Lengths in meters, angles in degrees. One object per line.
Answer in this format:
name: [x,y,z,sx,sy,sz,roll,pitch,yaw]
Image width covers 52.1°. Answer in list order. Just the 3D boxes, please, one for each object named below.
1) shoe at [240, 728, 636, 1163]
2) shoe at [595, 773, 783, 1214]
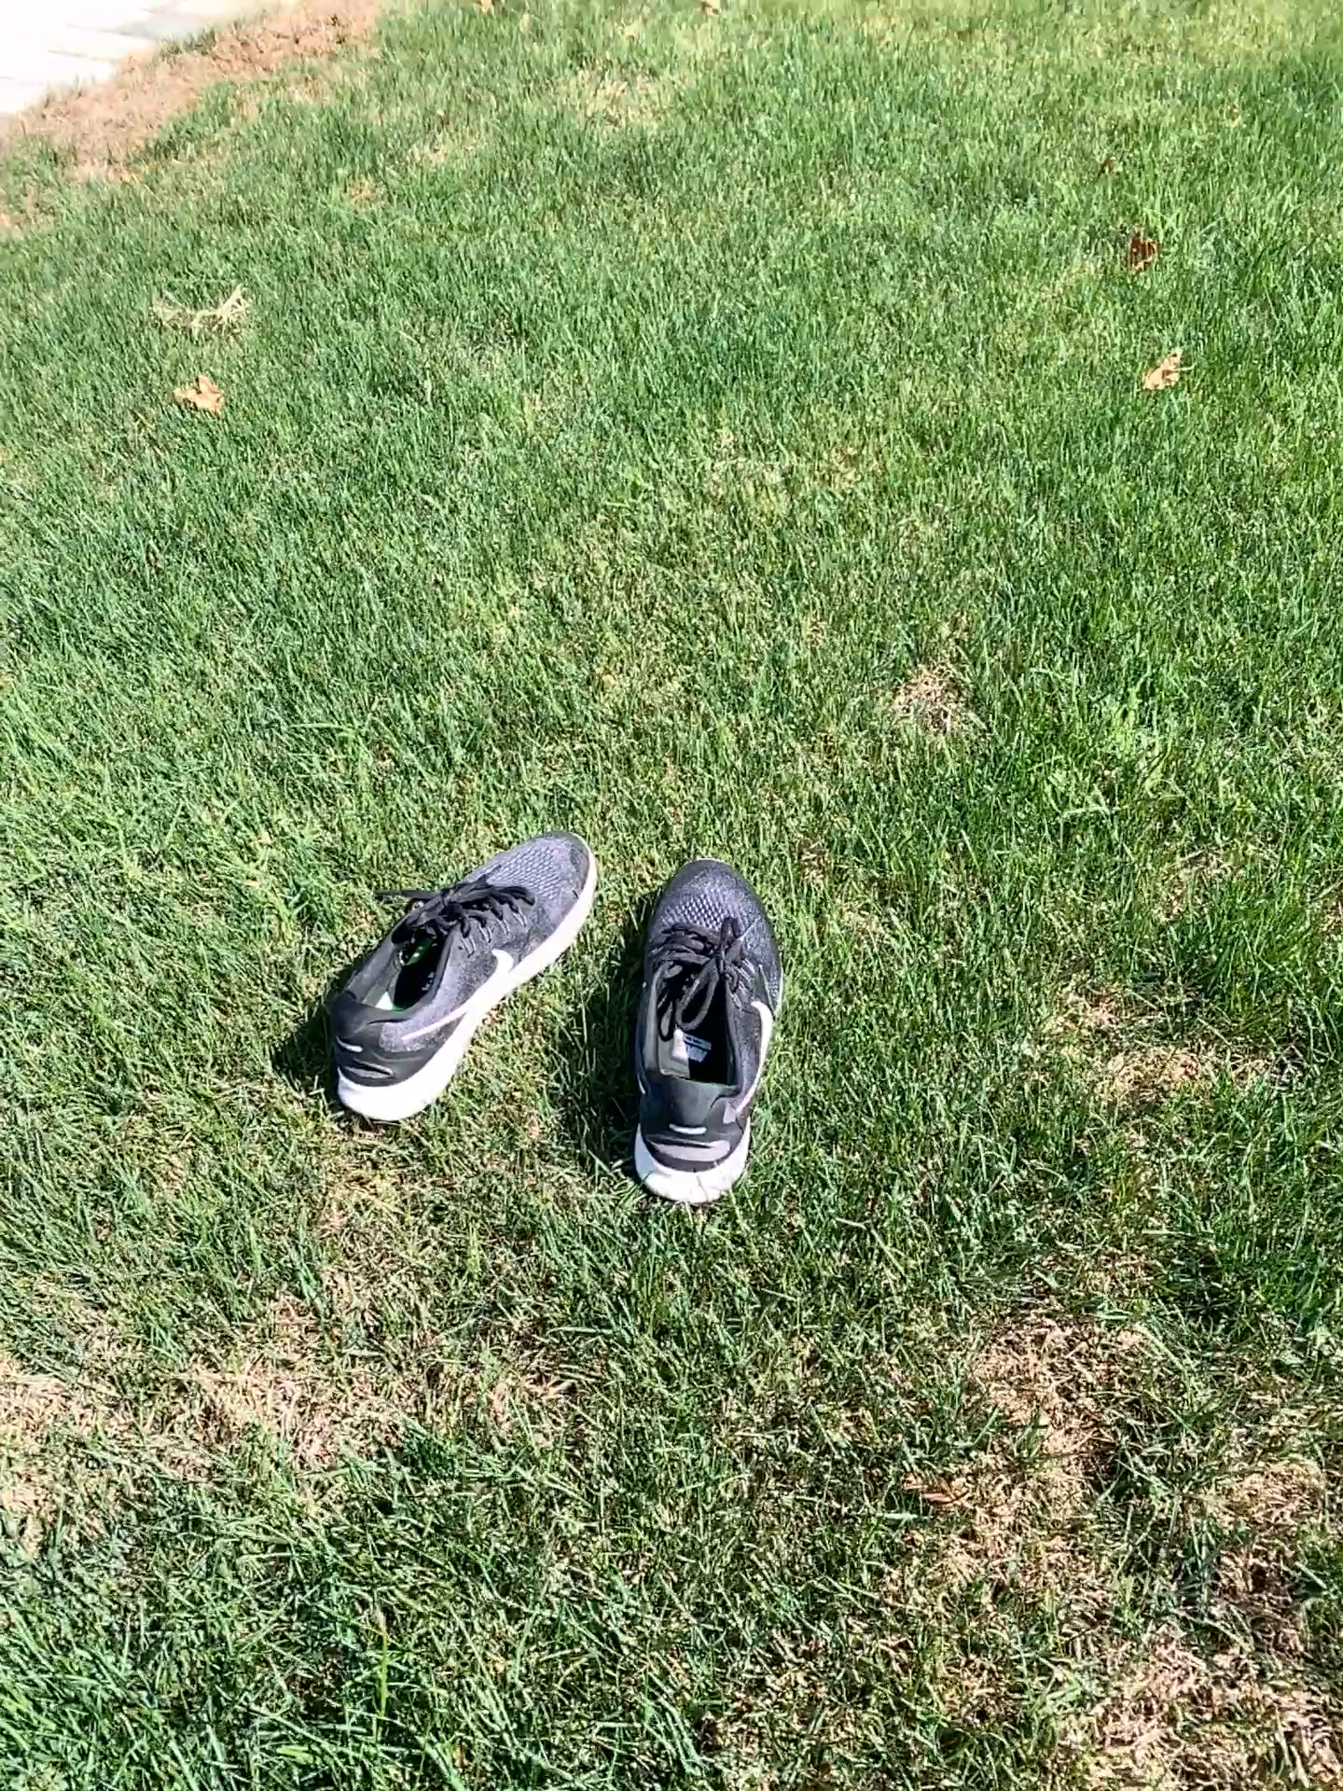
shoe: [-0.150,0.027,0.969,0.100,0.130,0.280,23,53,24]
shoe: [0.021,0.058,0.919,0.100,0.130,0.271,1,47,6]
